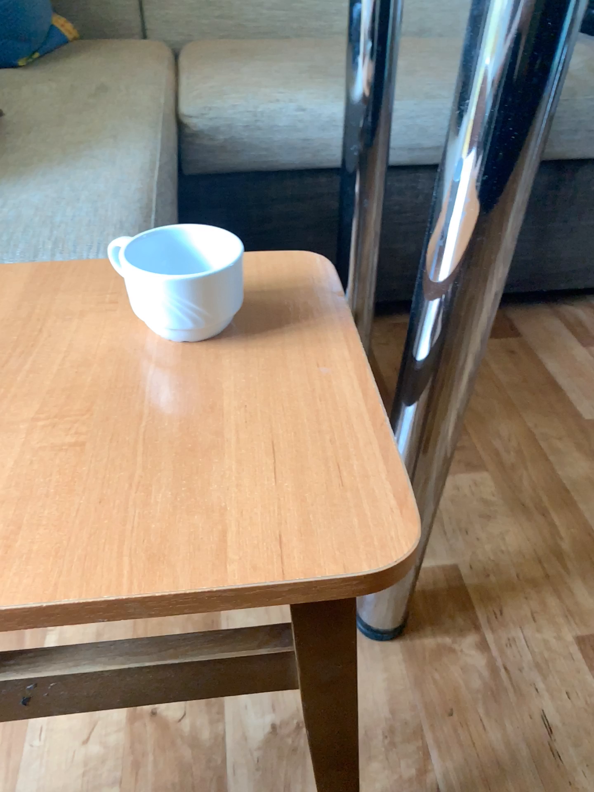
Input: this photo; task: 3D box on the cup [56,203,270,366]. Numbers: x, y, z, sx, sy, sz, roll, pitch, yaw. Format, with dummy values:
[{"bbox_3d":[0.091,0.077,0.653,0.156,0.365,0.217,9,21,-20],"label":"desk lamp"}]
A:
[{"bbox_3d":[-0.082,-0.075,0.391,0.100,0.050,0.080,22,43,25],"label":"cup"}]
